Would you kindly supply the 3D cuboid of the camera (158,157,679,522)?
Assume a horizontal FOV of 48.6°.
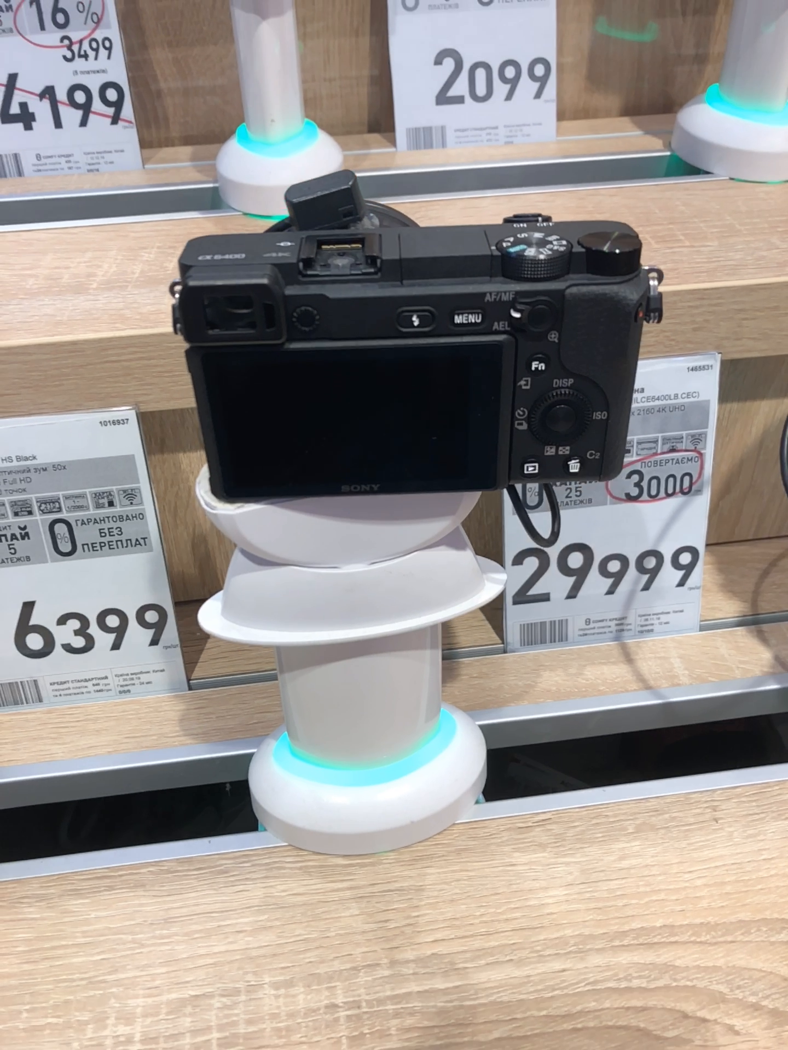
[{"bbox_3d":[0.005,-0.060,0.264,0.122,0.069,0.098,-2,36,0],"label":"camera"}]
